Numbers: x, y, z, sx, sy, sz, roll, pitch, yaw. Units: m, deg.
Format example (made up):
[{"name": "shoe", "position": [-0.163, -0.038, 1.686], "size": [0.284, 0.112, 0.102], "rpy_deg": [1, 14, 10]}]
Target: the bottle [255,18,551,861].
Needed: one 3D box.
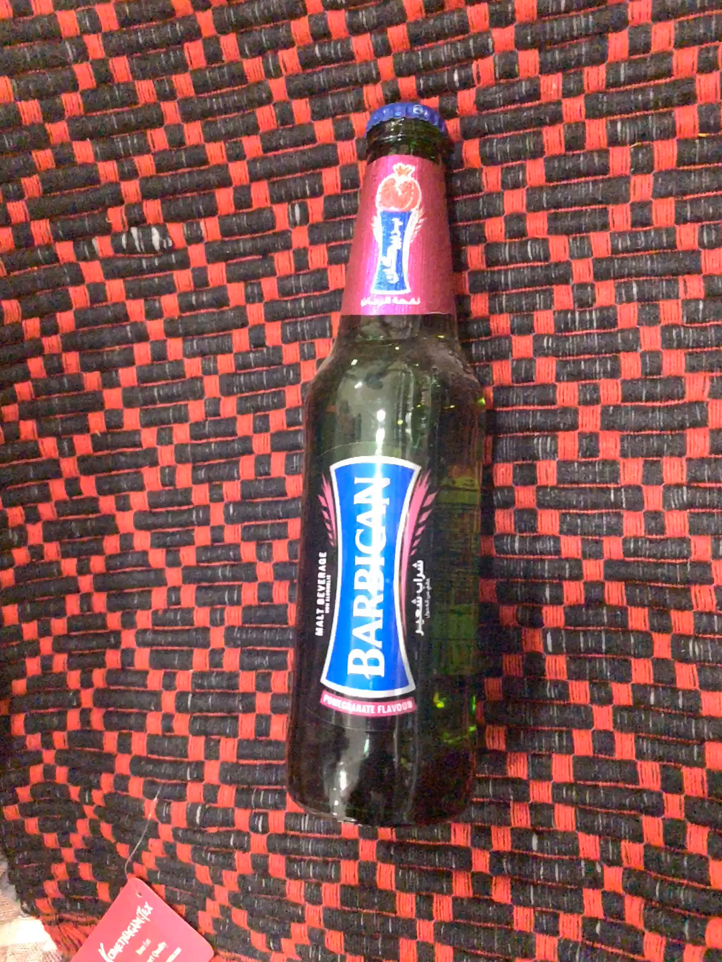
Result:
[{"name": "bottle", "position": [0.024, -0.017, 0.253], "size": [0.070, 0.080, 0.240], "rpy_deg": [-1, 77, 18]}]
